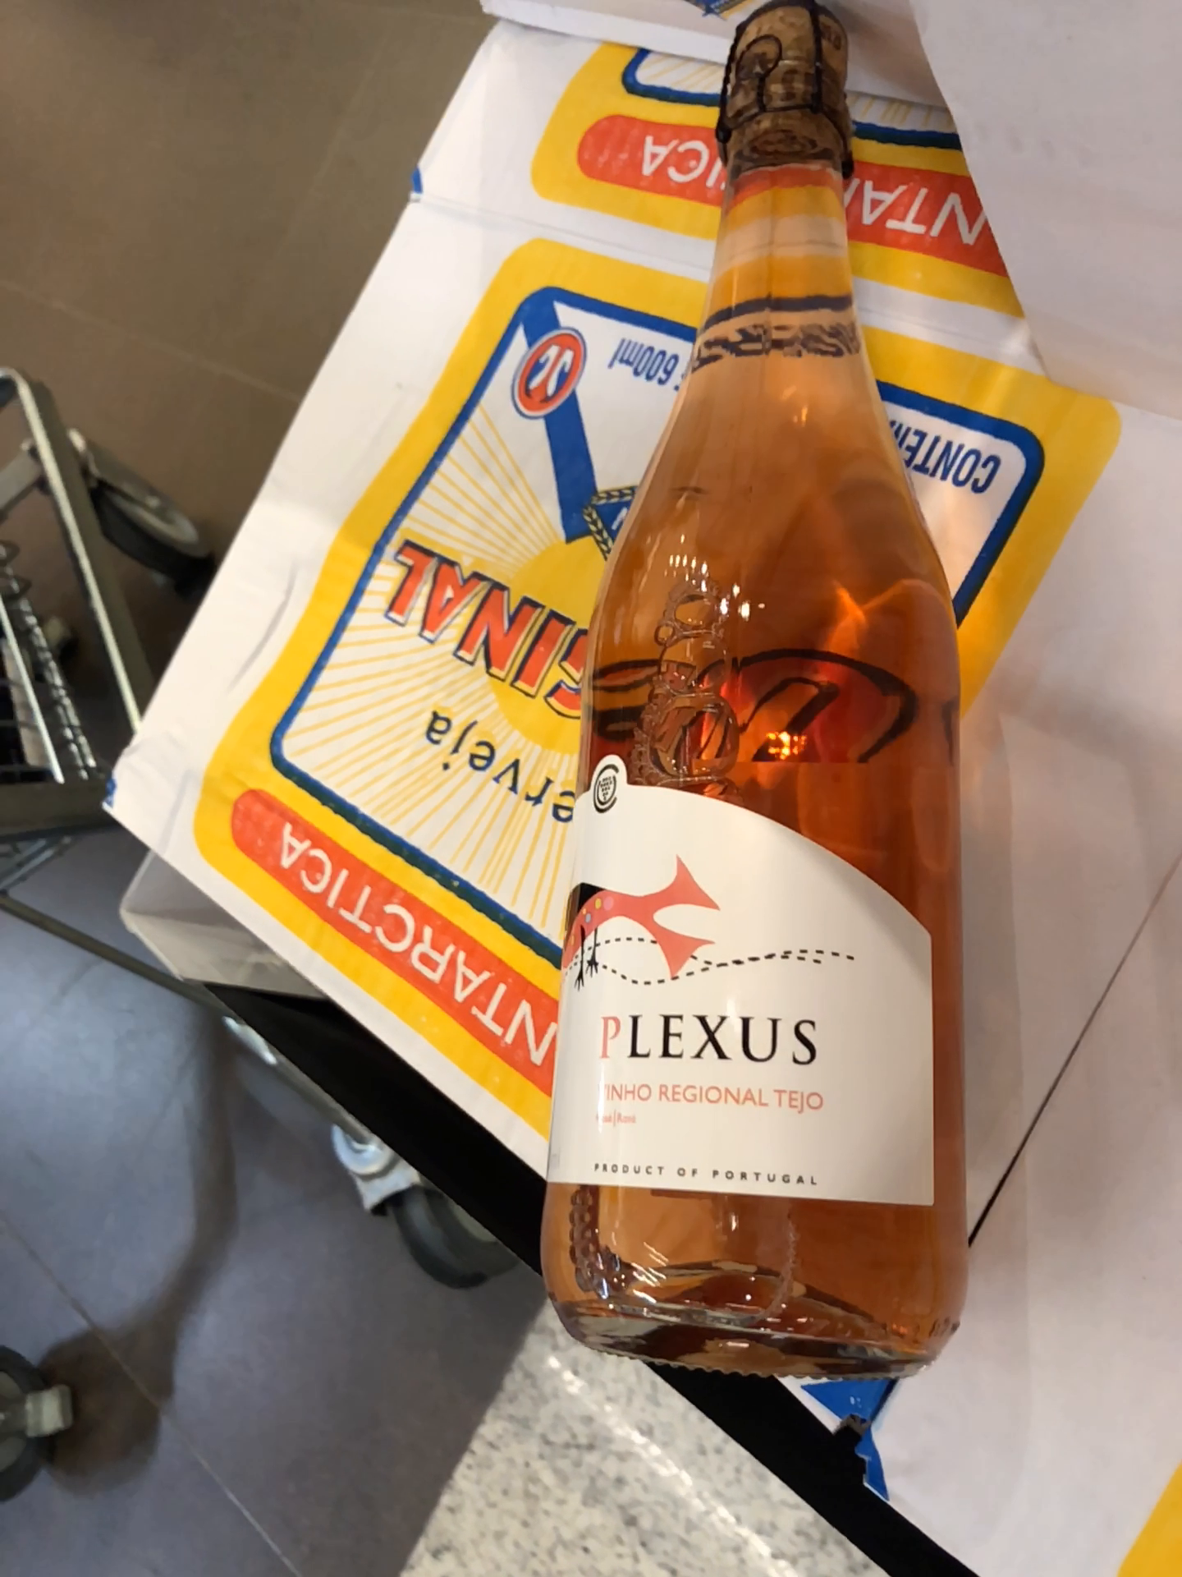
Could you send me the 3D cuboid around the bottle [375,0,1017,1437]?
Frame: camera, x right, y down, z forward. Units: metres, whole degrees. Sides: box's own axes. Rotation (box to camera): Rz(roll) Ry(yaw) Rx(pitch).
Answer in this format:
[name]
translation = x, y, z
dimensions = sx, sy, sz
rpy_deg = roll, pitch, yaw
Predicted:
[bottle]
translation = 0.029, -0.039, 0.268
dimensions = 0.090, 0.070, 0.290
rpy_deg = -5, 72, 30
